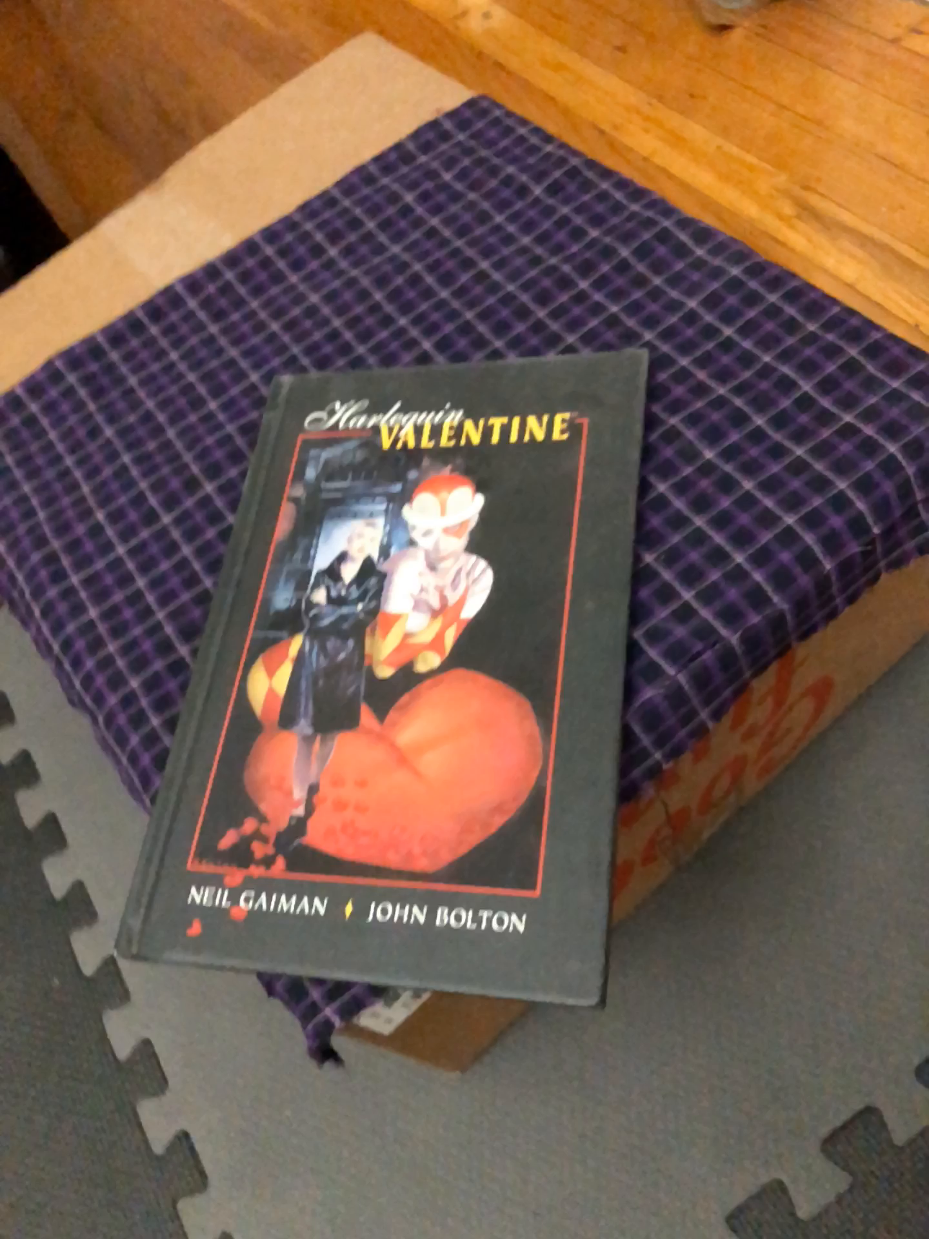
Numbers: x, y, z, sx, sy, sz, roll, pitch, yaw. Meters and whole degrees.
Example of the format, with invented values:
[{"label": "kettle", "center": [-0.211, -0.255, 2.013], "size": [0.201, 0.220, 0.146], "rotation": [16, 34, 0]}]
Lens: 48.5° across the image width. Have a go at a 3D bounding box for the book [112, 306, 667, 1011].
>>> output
[{"label": "book", "center": [-0.016, -0.004, 0.405], "size": [0.180, 0.020, 0.281], "rotation": [-1, 61, 16]}]
